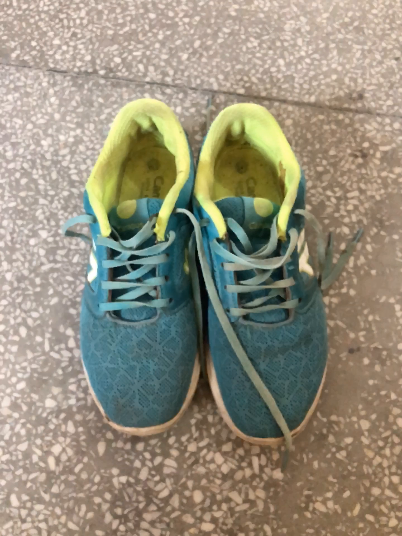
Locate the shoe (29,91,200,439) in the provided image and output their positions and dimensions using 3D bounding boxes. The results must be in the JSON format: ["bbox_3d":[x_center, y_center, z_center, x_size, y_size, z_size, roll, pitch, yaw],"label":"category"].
[{"bbox_3d":[-0.051,-0.001,0.329,0.091,0.092,0.230,-2,70,1],"label":"shoe"}]

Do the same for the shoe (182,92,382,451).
[{"bbox_3d":[0.043,0.002,0.322,0.094,0.088,0.229,-4,70,1],"label":"shoe"}]
